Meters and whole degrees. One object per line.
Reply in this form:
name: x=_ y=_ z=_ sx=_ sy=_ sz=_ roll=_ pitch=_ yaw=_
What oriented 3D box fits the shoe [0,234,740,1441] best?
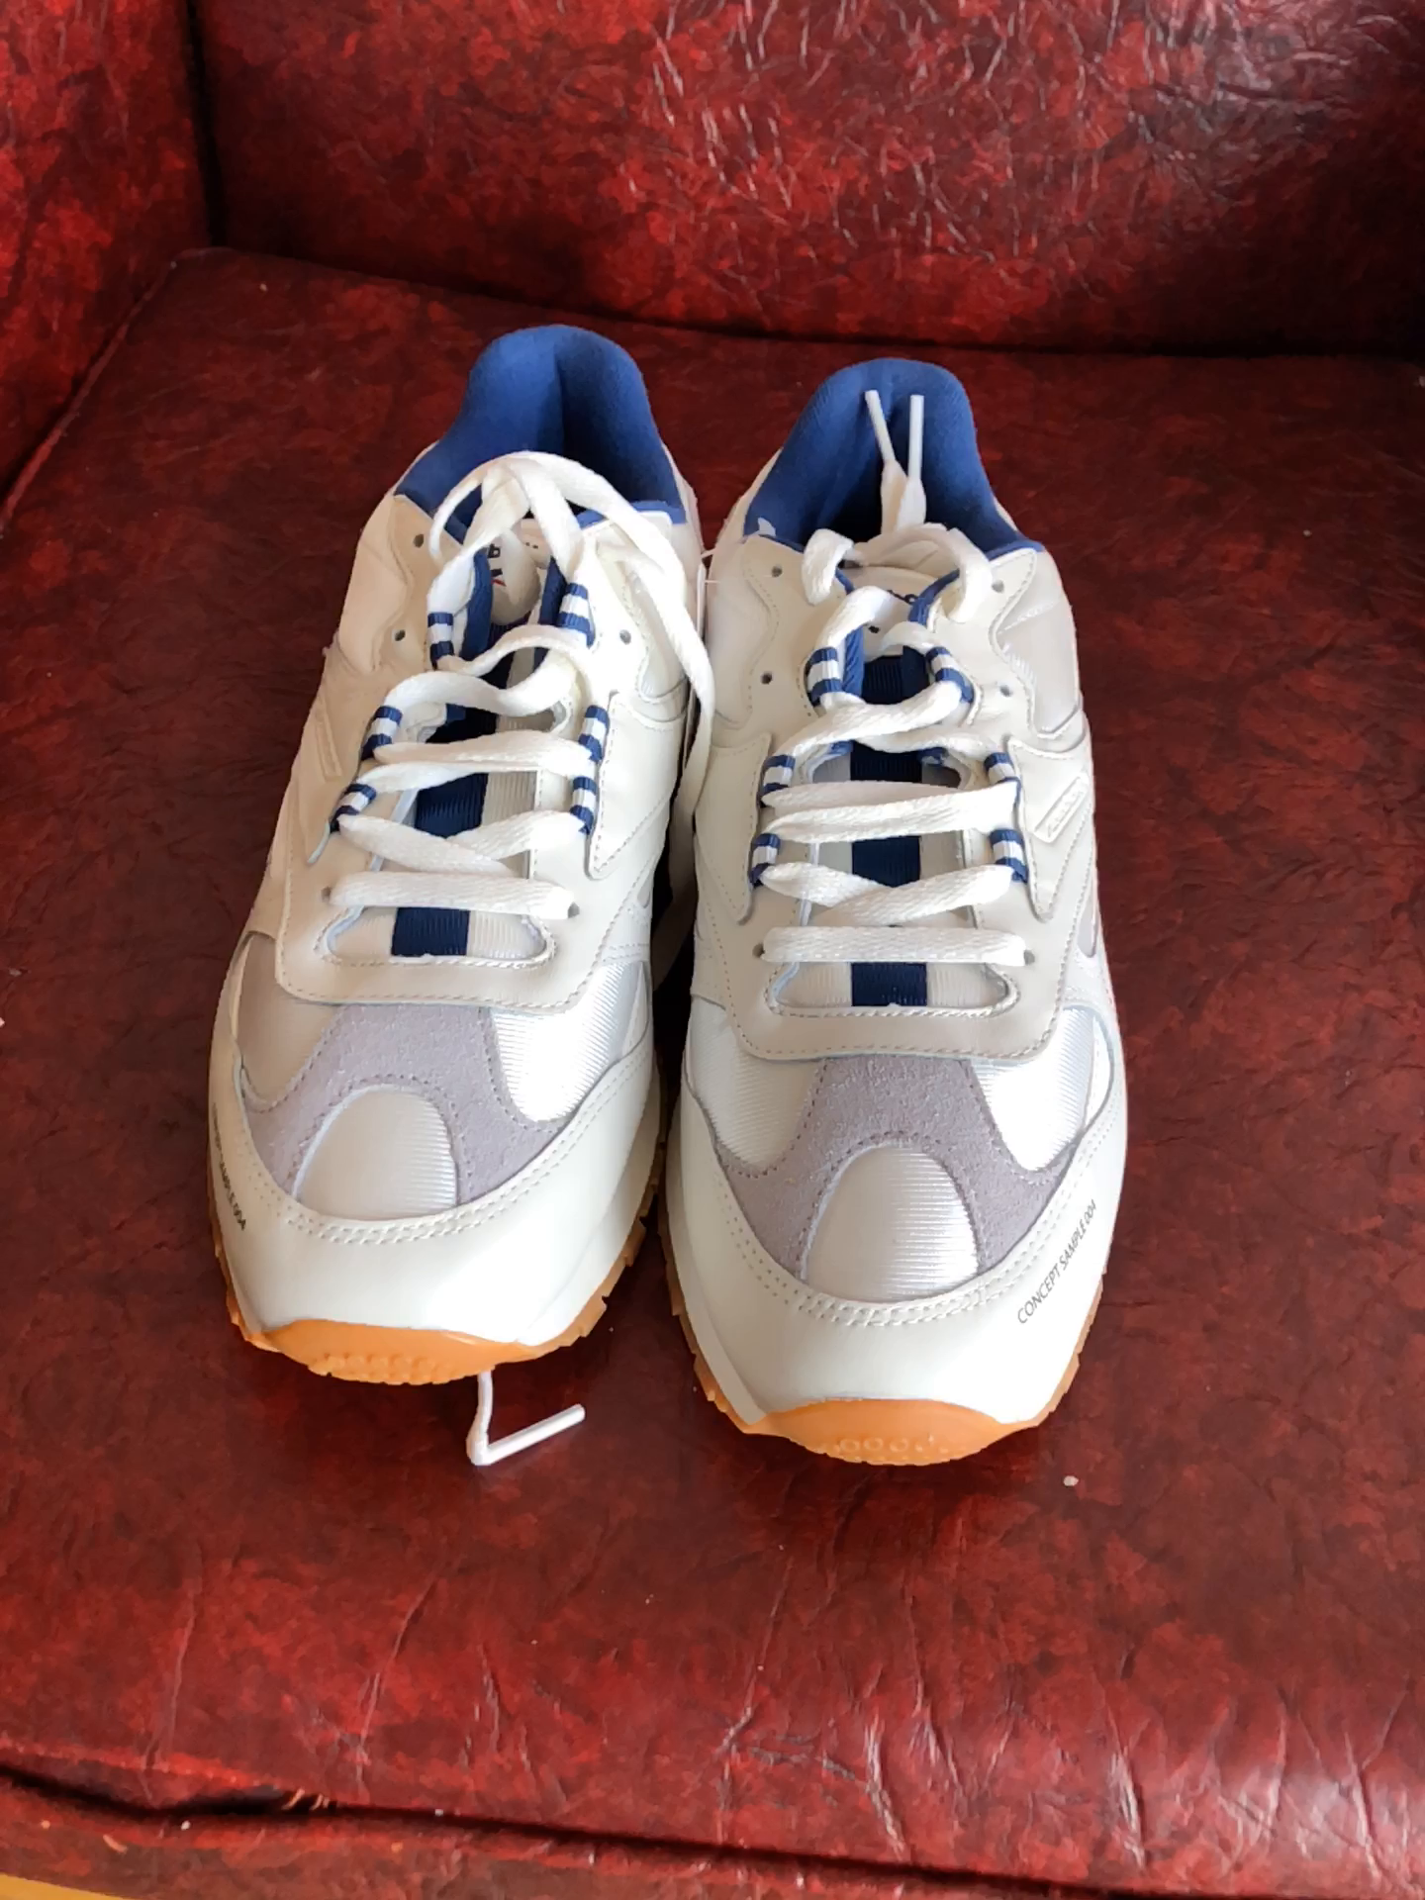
shoe: x=-0.057 y=-0.041 z=0.365 sx=0.110 sy=0.099 sz=0.272 roll=4 pitch=55 yaw=0

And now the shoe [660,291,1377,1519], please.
shoe: x=0.053 y=-0.025 z=0.363 sx=0.110 sy=0.099 sz=0.272 roll=4 pitch=55 yaw=0
